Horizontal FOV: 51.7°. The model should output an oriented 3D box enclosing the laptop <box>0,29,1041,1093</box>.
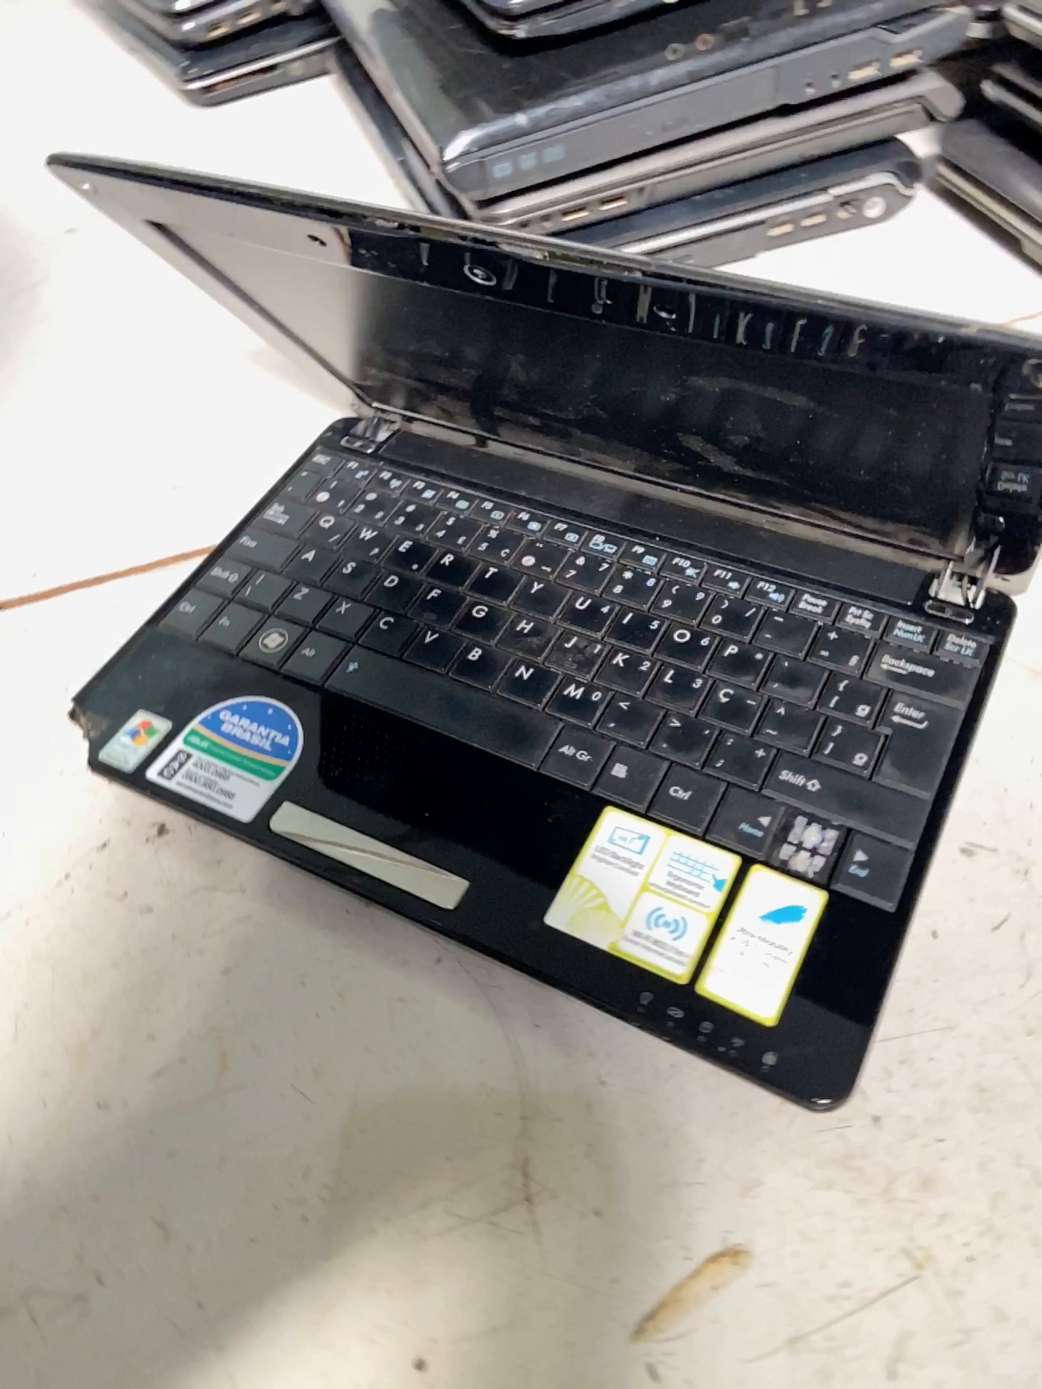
[{"bbox_3d":[-0.005,-0.057,0.293,0.262,0.137,0.168,21,56,22],"label":"laptop"}]
